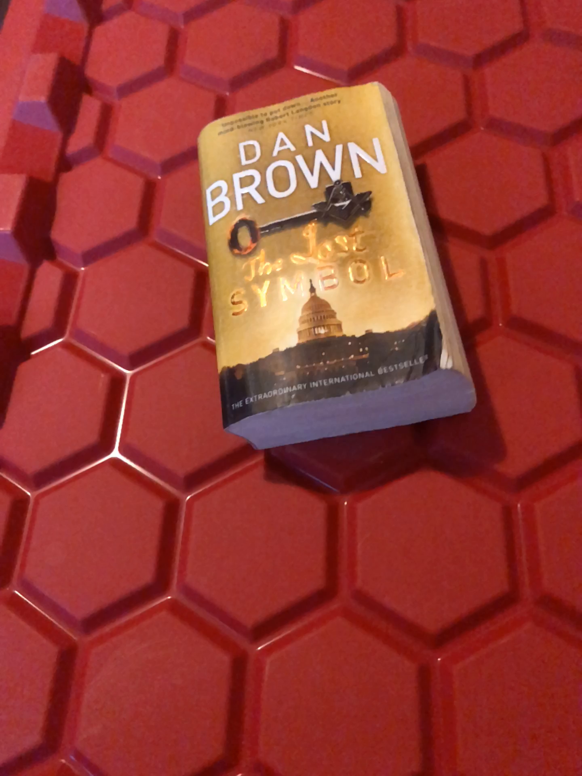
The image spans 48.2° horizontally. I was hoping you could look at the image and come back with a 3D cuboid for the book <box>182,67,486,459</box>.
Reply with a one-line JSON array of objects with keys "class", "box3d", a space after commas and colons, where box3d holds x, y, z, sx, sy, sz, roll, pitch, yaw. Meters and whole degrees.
[{"class": "book", "box3d": [0.015, -0.068, 0.339, 0.122, 0.051, 0.183, -11, 64, 7]}]
